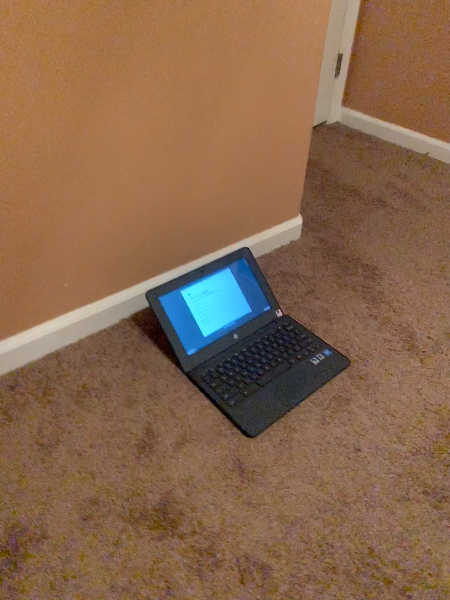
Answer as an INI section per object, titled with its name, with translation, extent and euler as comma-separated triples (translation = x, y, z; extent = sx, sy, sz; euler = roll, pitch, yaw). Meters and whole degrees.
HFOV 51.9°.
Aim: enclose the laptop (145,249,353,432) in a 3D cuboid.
[laptop]
translation = 0.042, 0.062, 1.004
extent = 0.289, 0.124, 0.332
euler = -27, 47, -32
